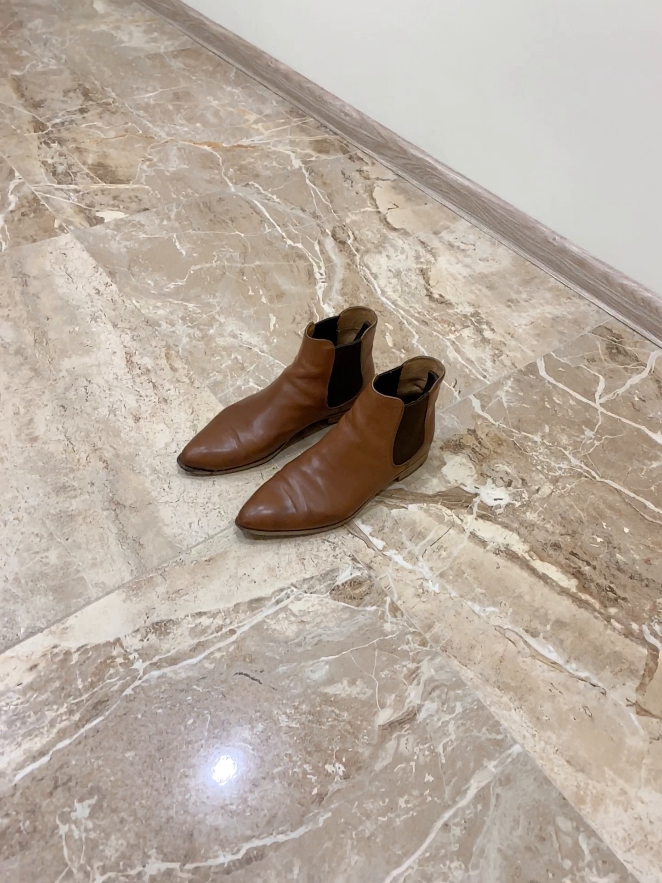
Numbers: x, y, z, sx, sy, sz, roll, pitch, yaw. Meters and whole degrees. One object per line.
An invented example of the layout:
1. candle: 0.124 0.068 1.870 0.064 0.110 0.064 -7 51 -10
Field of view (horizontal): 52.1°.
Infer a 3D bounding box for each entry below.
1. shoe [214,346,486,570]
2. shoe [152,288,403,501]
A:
1. shoe: 0.018 0.012 0.688 0.250 0.119 0.090 -22 54 -24
2. shoe: -0.055 -0.057 0.750 0.250 0.129 0.090 -26 56 -26
